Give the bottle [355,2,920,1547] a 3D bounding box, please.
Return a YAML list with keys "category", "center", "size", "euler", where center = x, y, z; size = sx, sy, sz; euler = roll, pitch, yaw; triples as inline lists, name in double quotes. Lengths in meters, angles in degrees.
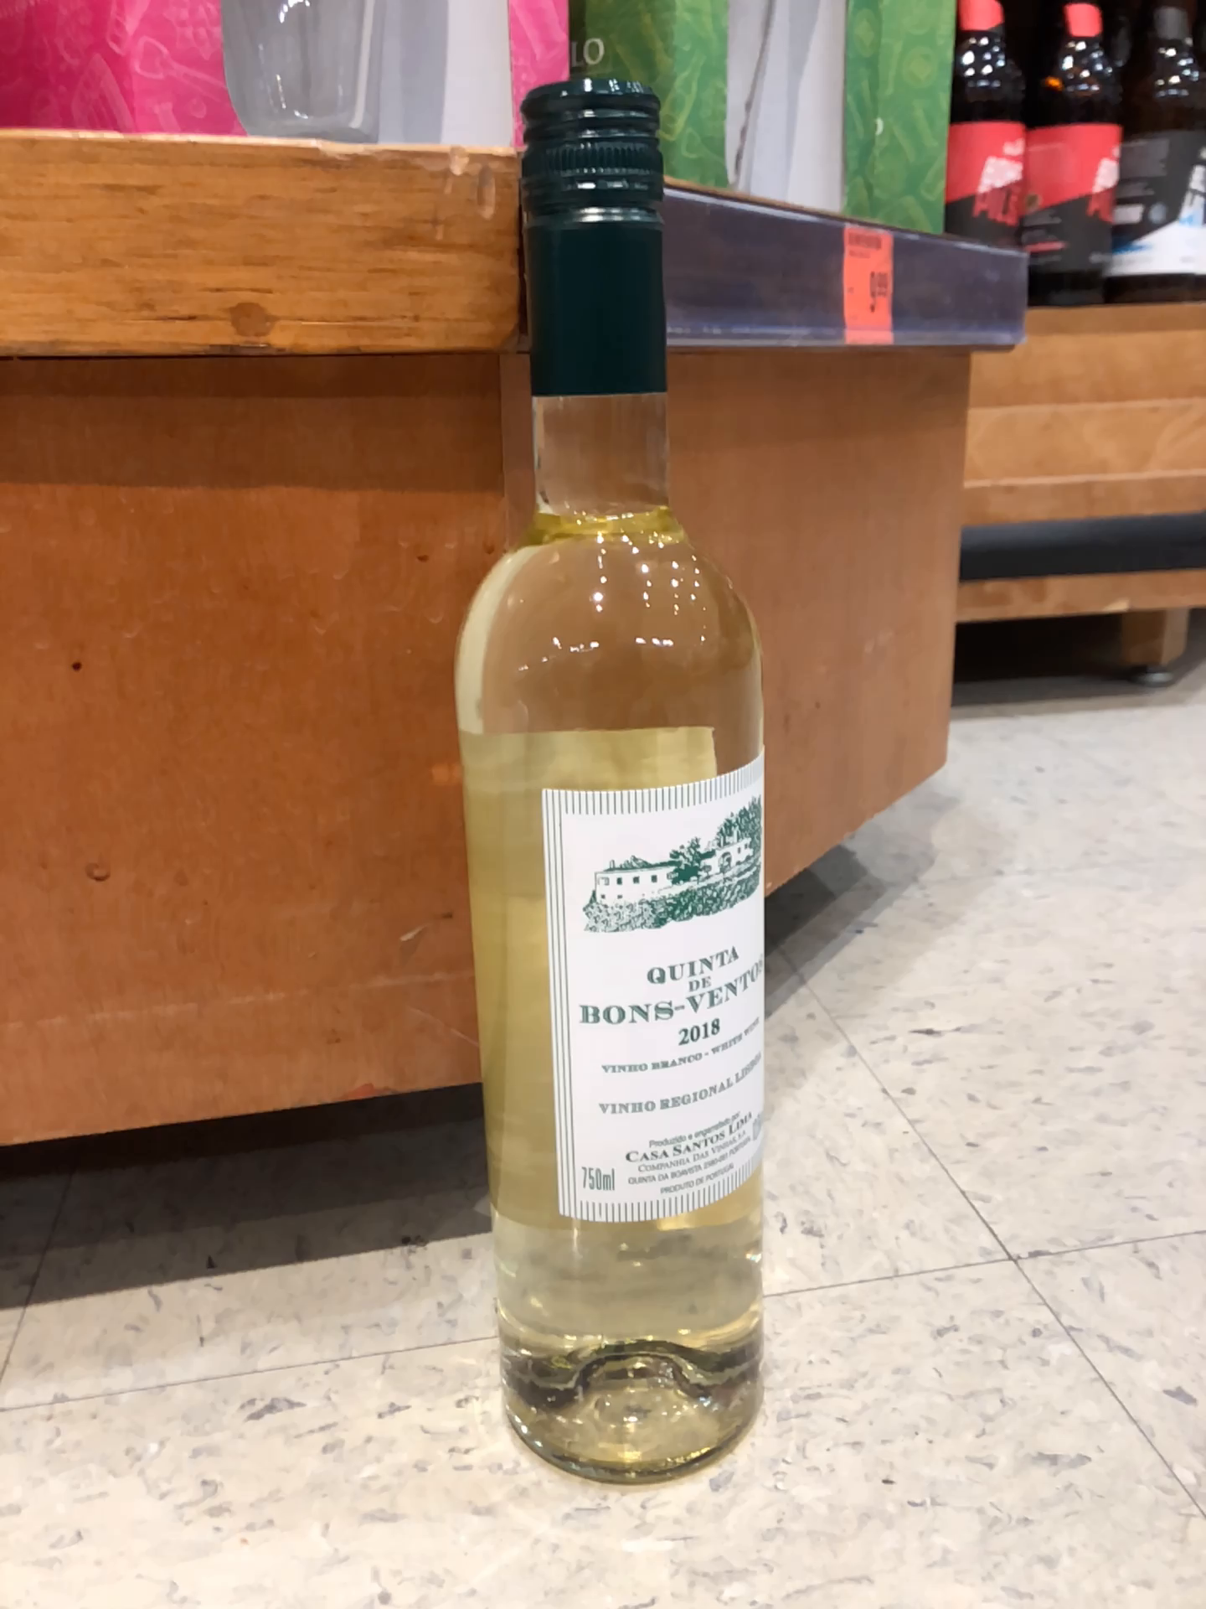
- category: "bottle"
  center: [0.010, 0.003, 0.310]
  size: [0.080, 0.308, 0.080]
  euler: [-2, 17, 1]
